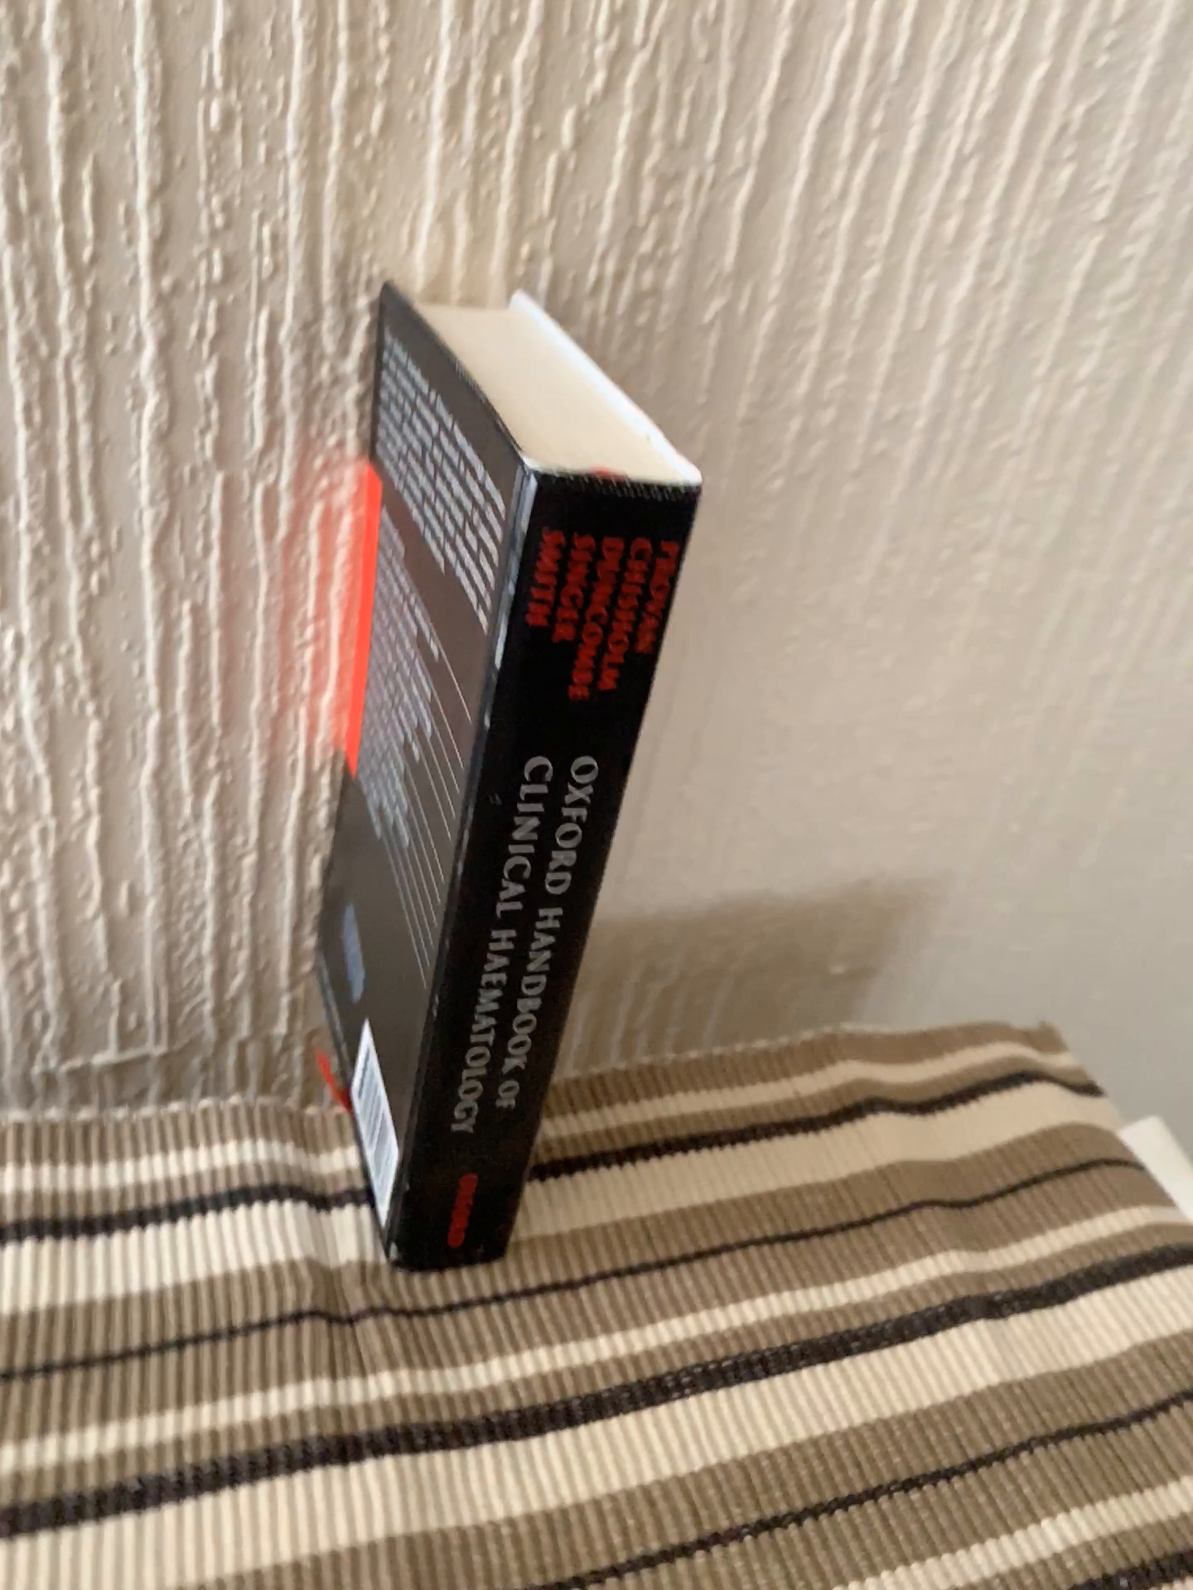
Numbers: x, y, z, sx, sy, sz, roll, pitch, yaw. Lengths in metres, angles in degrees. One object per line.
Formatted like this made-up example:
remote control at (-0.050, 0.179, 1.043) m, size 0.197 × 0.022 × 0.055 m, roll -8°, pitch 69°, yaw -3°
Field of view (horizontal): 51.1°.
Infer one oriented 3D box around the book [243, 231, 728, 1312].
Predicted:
book at (-0.041, -0.003, 0.267) m, size 0.040 × 0.188 × 0.121 m, roll -3°, pitch 37°, yaw -25°
